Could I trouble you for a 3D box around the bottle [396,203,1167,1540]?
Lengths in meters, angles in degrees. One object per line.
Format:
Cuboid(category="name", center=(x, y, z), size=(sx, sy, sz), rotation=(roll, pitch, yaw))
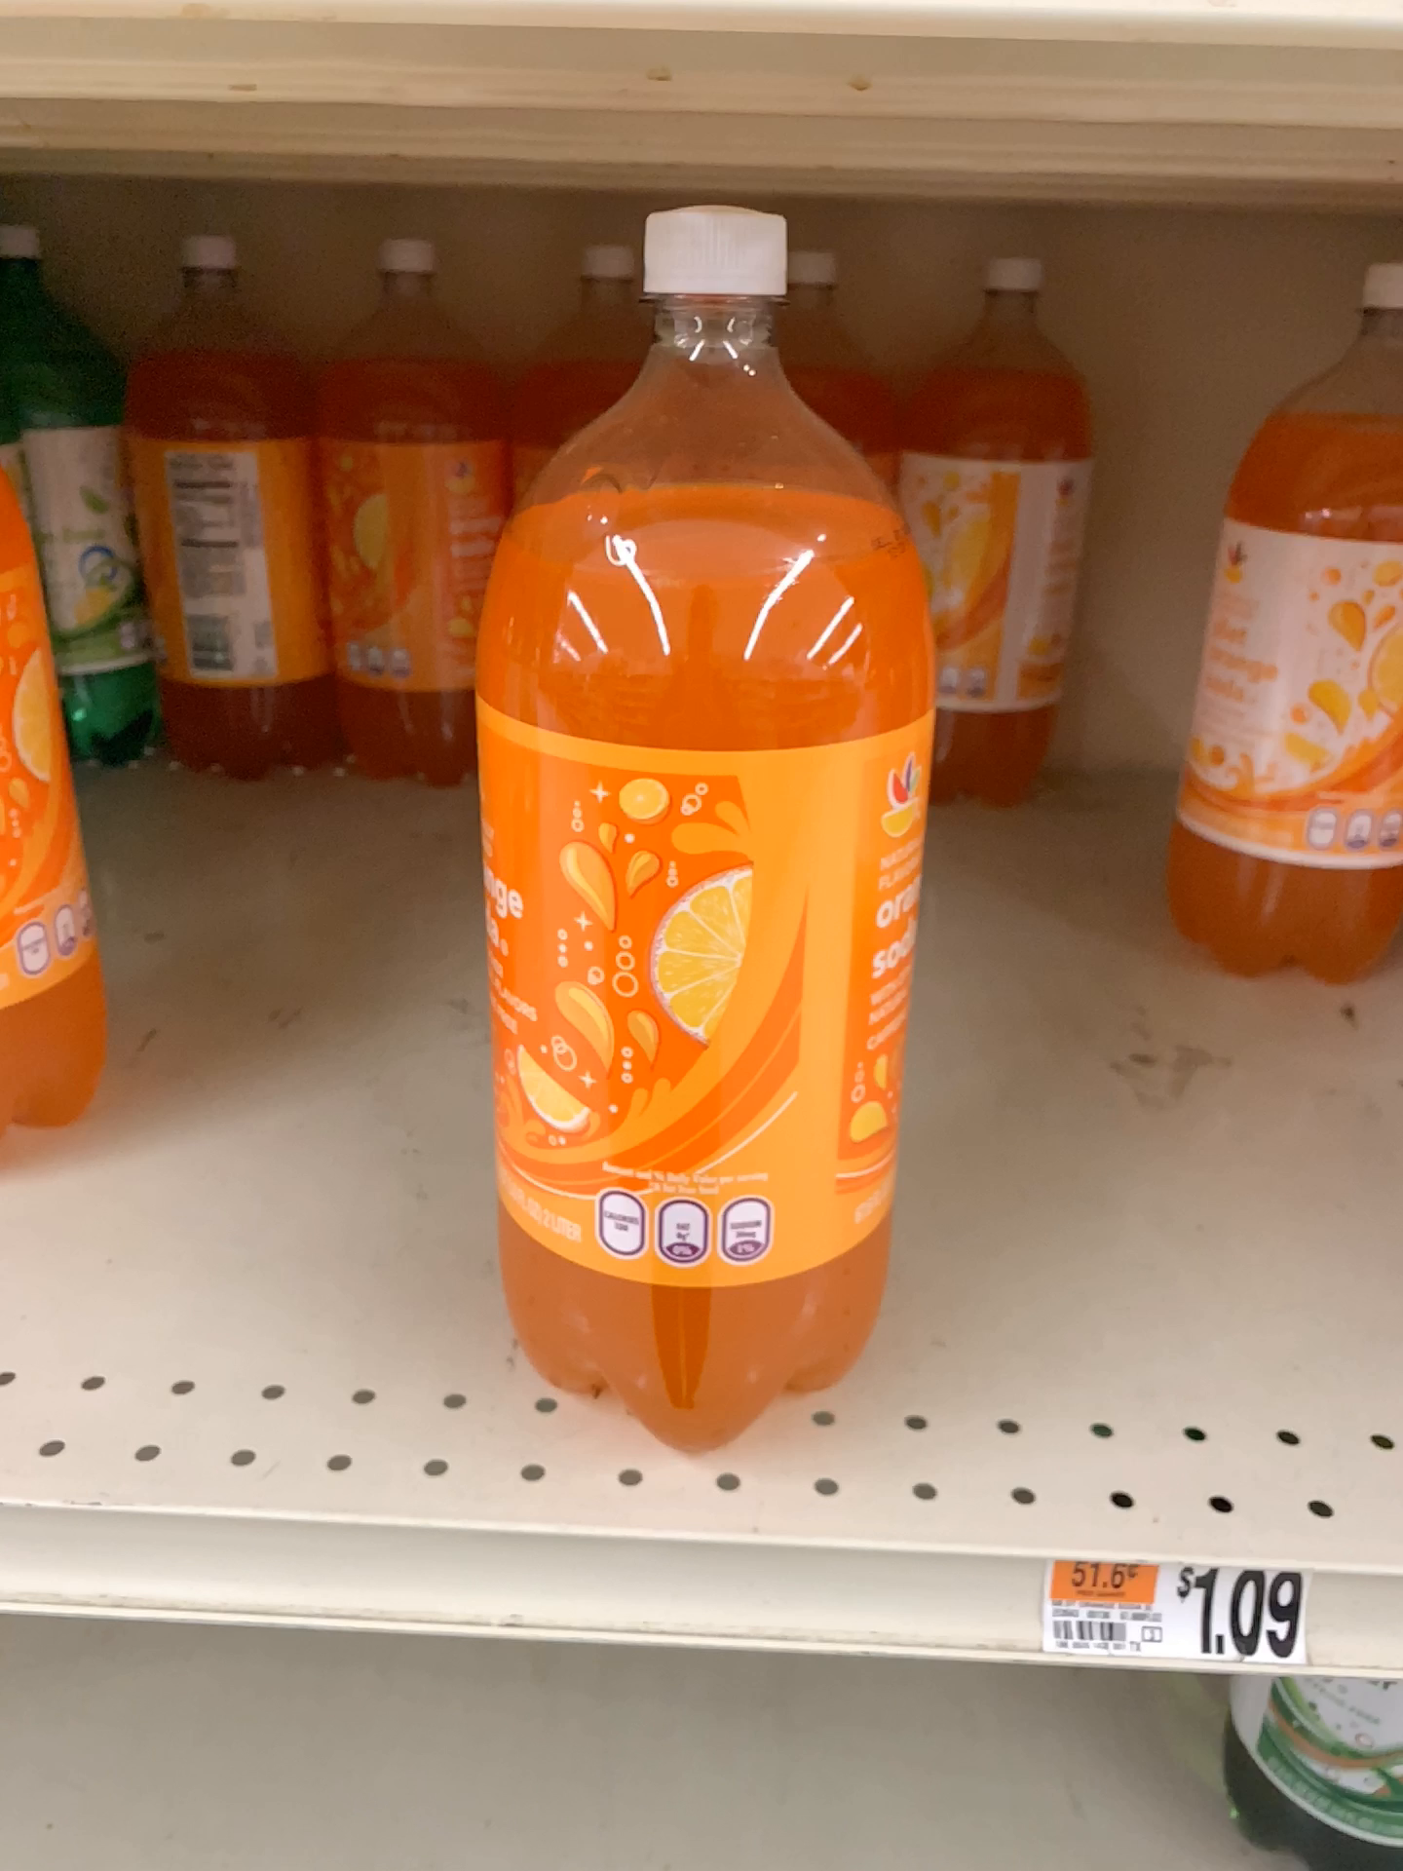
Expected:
Cuboid(category="bottle", center=(0.008, -0.017, 0.359), size=(0.120, 0.288, 0.110), rotation=(1, 25, -1))
